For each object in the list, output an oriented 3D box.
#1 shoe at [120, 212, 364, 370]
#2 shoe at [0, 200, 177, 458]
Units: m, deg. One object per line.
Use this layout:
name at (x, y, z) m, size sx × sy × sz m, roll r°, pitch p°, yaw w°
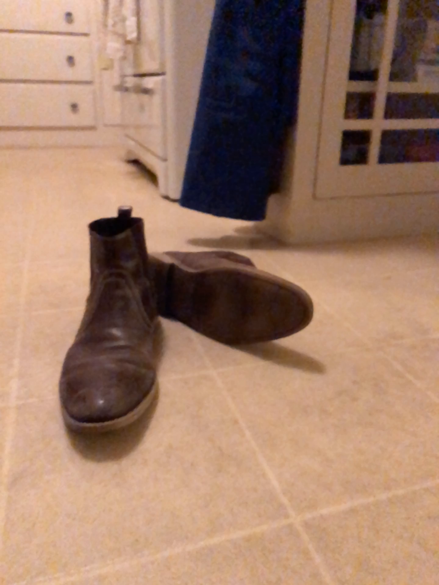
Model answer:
shoe at (0.021, -0.023, 0.710) m, size 0.314 × 0.111 × 0.162 m, roll 20°, pitch 27°, yaw 37°
shoe at (-0.120, 0.011, 0.553) m, size 0.111 × 0.160 × 0.315 m, roll 2°, pitch 23°, yaw 1°
